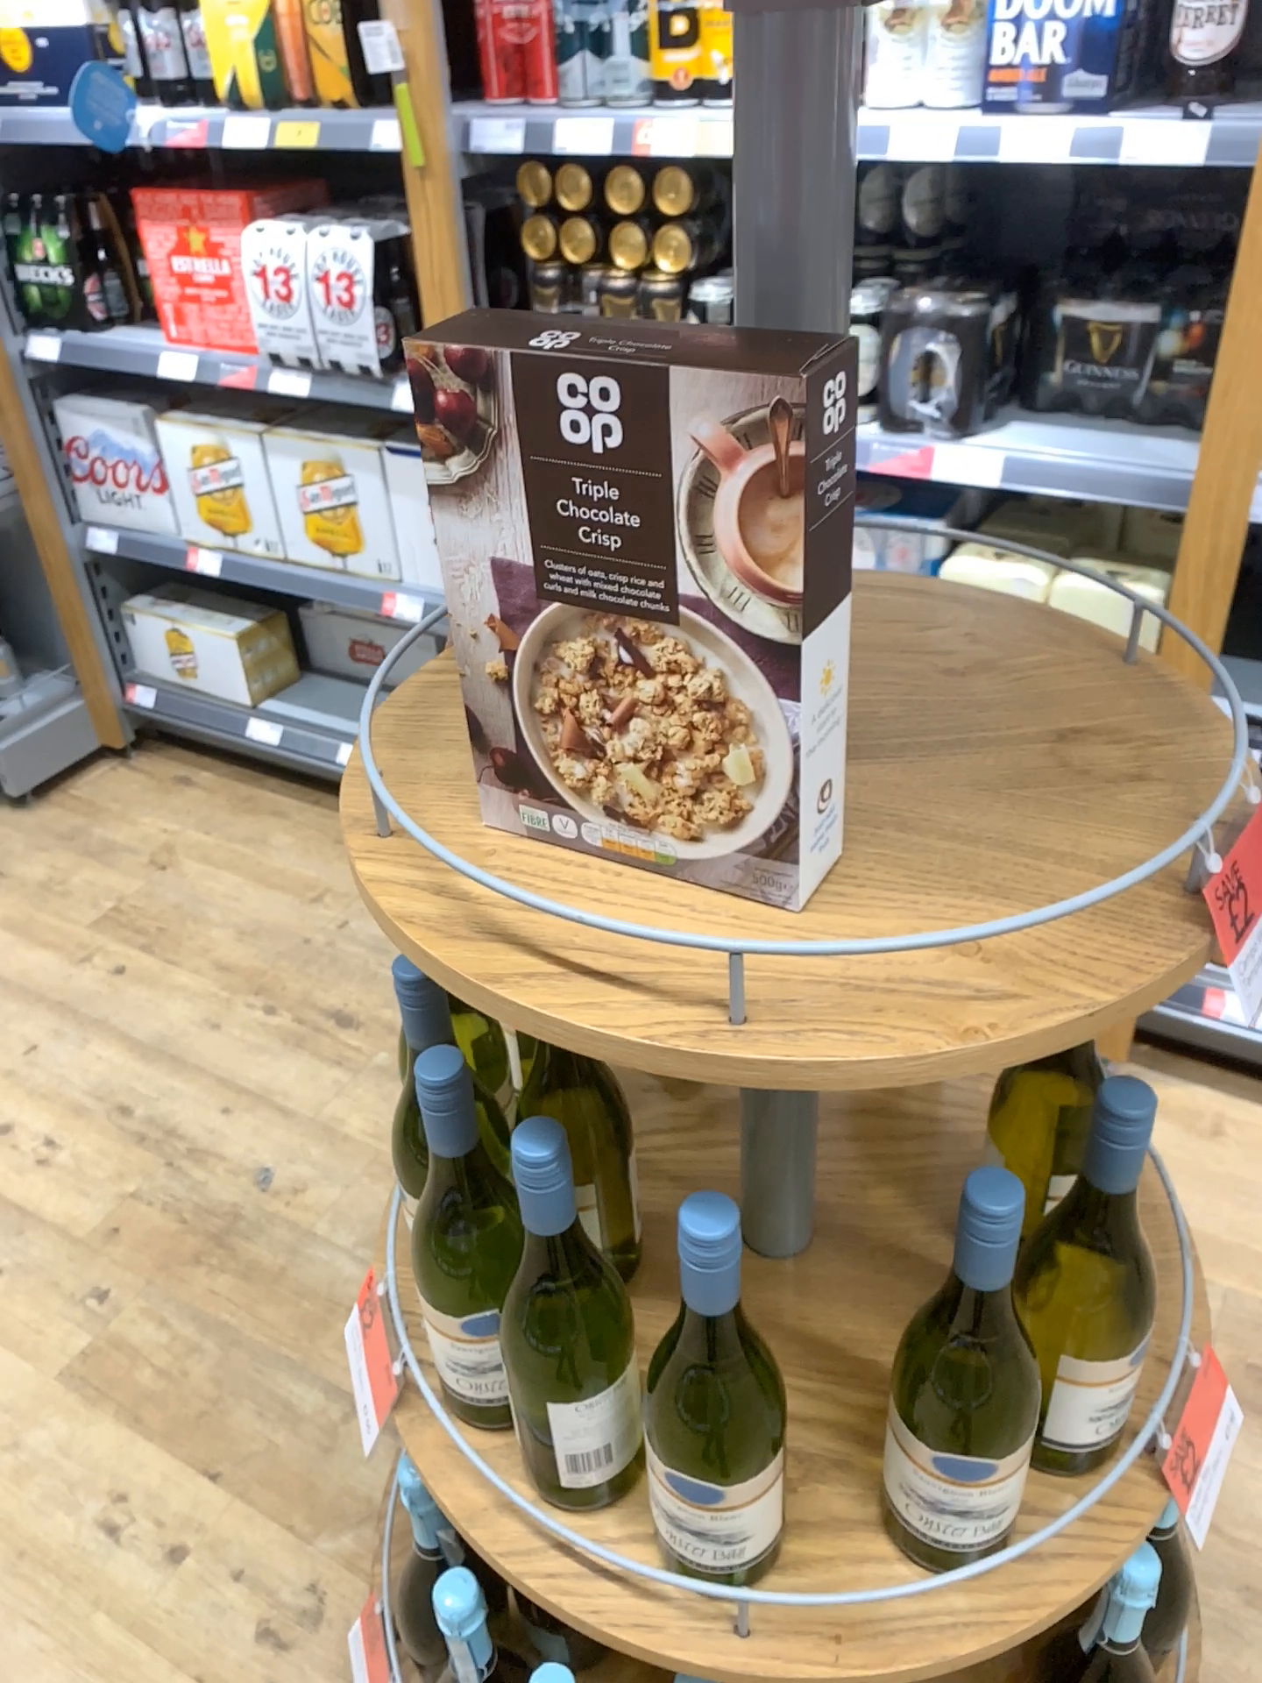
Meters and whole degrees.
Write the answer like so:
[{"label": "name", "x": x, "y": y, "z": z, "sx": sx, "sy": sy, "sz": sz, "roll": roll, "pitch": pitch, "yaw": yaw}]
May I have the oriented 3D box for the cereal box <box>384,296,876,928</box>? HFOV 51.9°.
[{"label": "cereal box", "x": 0.003, "y": -0.098, "z": 0.572, "sx": 0.191, "sy": 0.247, "sz": 0.050, "roll": 15, "pitch": 40, "yaw": 26}]
